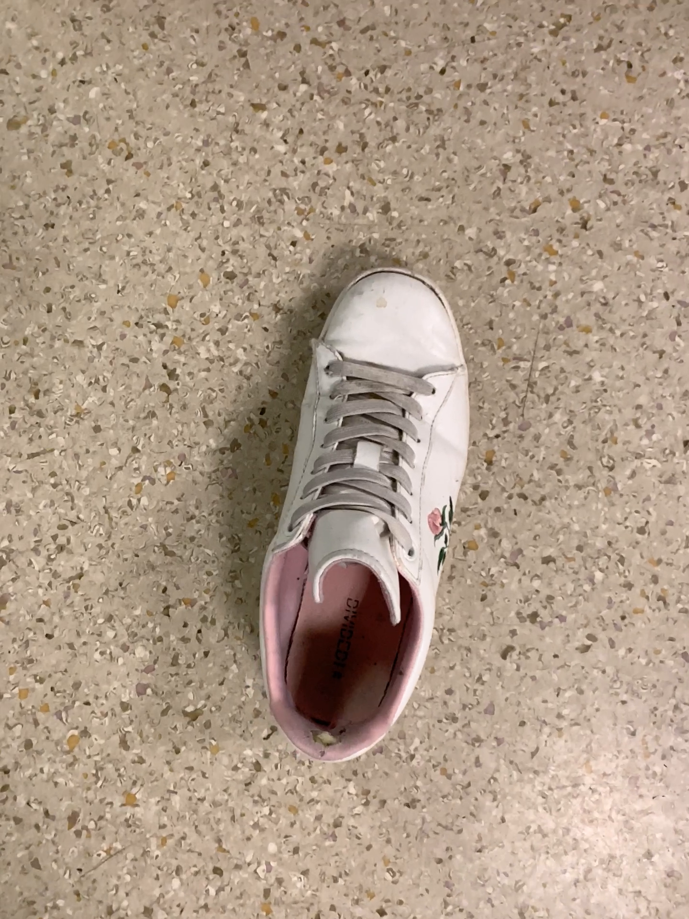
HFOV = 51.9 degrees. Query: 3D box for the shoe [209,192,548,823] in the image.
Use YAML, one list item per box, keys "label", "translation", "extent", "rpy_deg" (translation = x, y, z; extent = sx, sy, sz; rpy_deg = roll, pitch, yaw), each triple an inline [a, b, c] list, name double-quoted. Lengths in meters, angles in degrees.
- label: "shoe"
  translation: [0.015, 0.020, 0.349]
  extent: [0.098, 0.093, 0.255]
  rpy_deg: [11, 88, -1]
